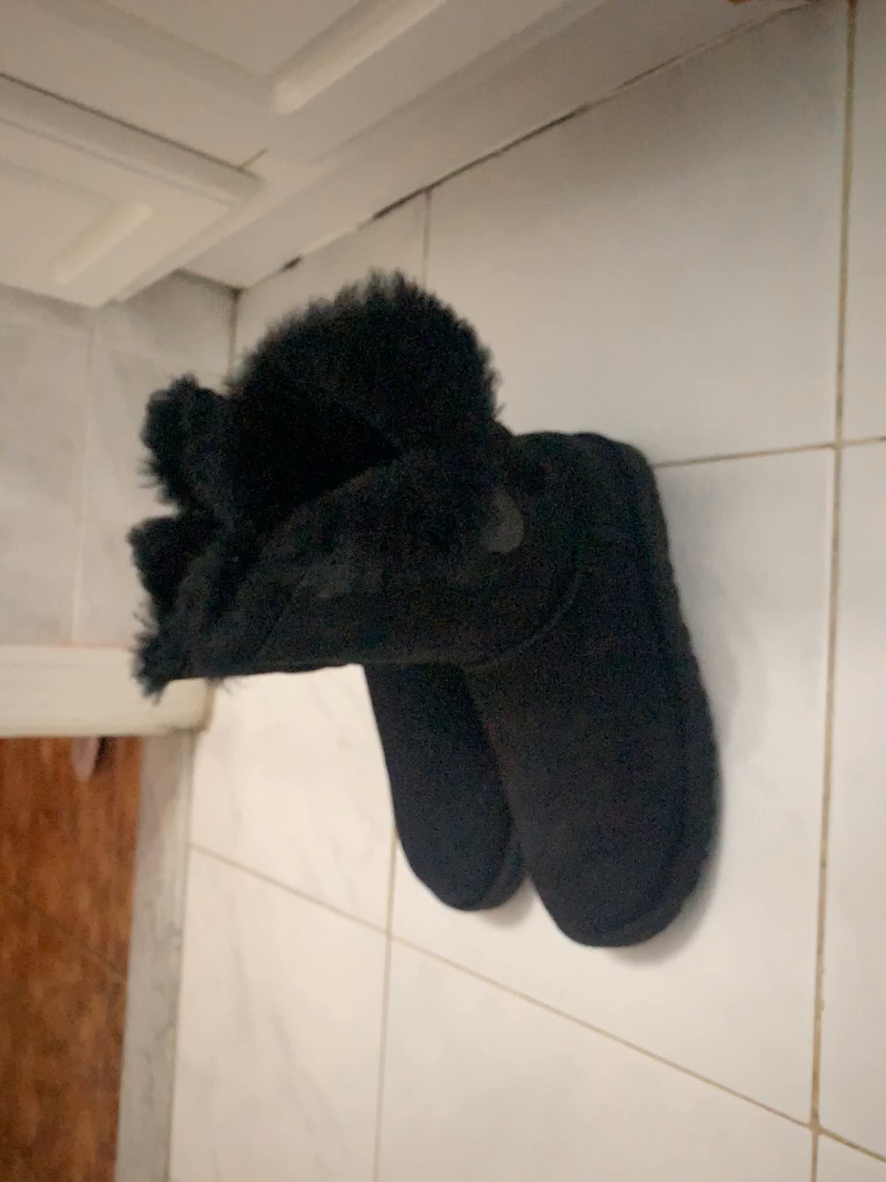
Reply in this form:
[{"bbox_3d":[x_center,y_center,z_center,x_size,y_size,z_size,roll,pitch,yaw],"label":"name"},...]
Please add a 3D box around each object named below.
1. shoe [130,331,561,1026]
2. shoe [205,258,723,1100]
[{"bbox_3d":[-0.055,0.043,0.483,0.121,0.169,0.290,-17,74,48],"label":"shoe"},{"bbox_3d":[0.009,0.034,0.409,0.111,0.189,0.280,-13,76,48],"label":"shoe"}]
